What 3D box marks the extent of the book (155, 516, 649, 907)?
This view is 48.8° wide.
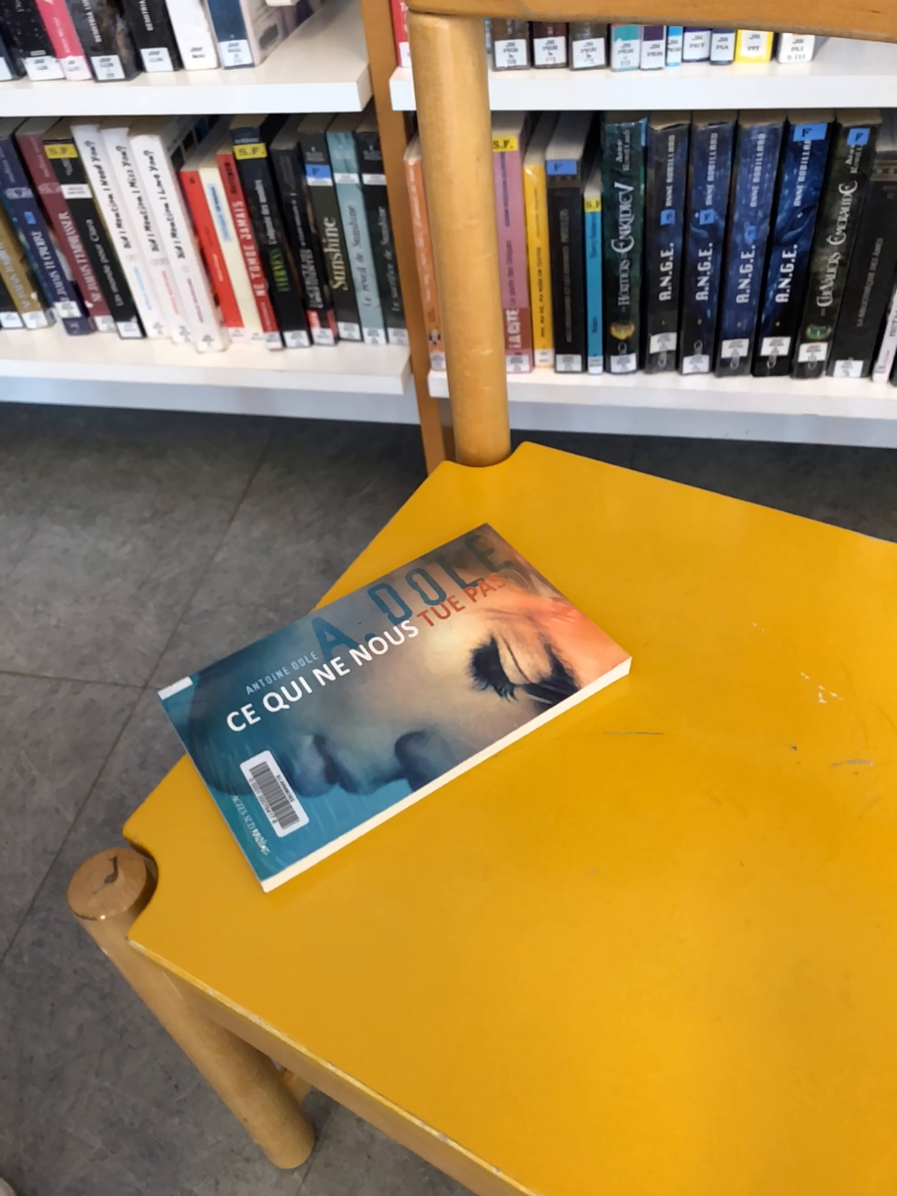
[{"bbox_3d":[-0.026,0.044,0.510,0.213,0.016,0.140,-28,49,-19],"label":"book"}]
